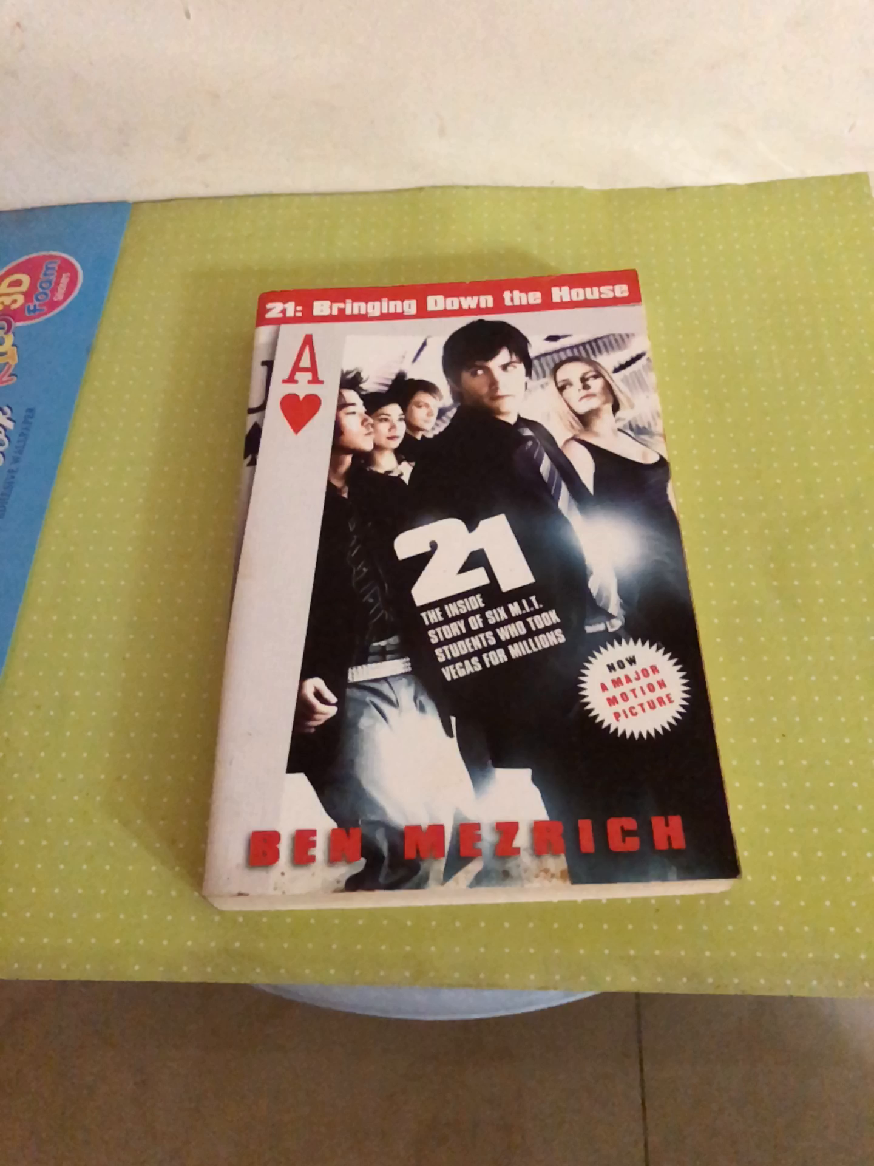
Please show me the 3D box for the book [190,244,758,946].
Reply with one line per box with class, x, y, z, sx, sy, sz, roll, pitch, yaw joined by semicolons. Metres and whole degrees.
book;0.006;-0.008;0.292;0.130;0.040;0.210;-3;61;2
